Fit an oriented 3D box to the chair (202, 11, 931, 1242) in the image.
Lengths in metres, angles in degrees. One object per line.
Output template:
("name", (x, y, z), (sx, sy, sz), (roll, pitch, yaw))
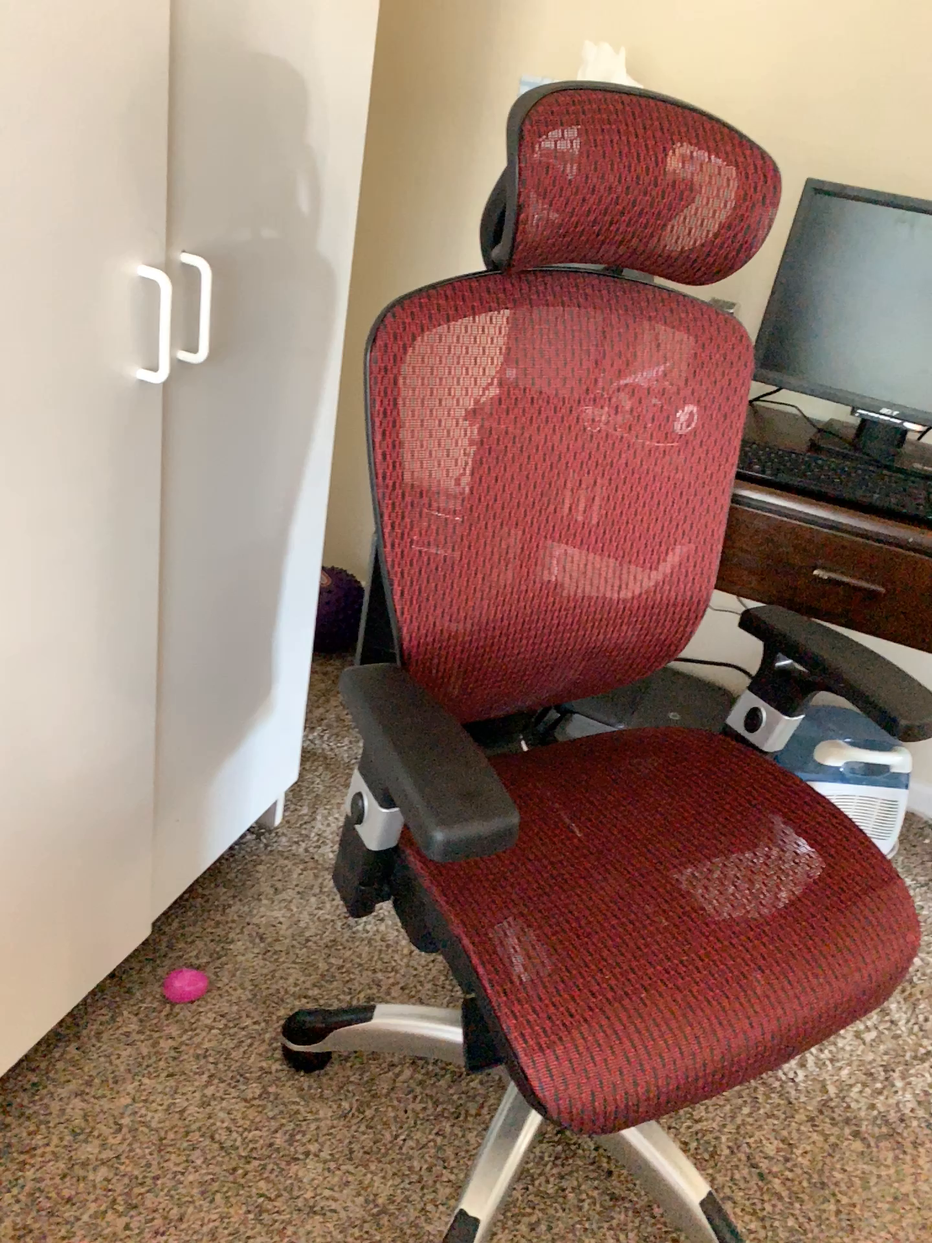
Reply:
("chair", (0.206, 0.110, 1.000), (0.731, 1.155, 0.813), (-6, 32, -28))
